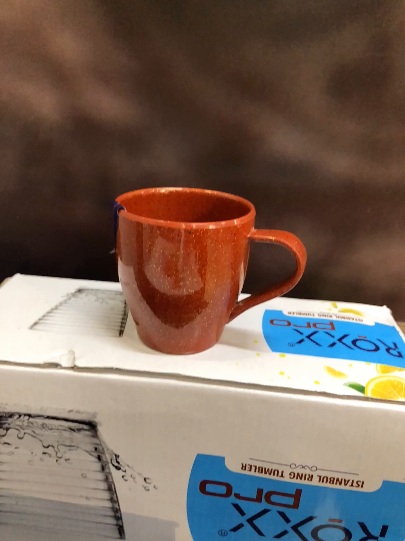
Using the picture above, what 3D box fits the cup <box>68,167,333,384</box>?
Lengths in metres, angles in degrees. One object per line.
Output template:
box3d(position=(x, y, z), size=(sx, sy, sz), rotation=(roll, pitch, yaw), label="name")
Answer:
box3d(position=(0.003, -0.006, 0.215), size=(0.100, 0.070, 0.070), rotation=(8, 21, 18), label="cup")
